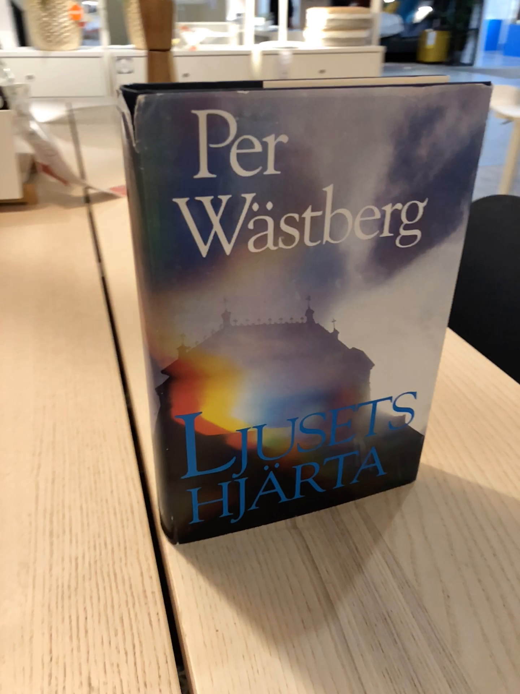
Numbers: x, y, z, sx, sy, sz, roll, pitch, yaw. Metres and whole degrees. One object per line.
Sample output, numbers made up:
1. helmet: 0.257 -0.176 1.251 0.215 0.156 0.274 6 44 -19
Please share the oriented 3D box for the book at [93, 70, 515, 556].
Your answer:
1. book: 0.020 -0.011 0.287 0.166 0.221 0.042 -9 31 -17
